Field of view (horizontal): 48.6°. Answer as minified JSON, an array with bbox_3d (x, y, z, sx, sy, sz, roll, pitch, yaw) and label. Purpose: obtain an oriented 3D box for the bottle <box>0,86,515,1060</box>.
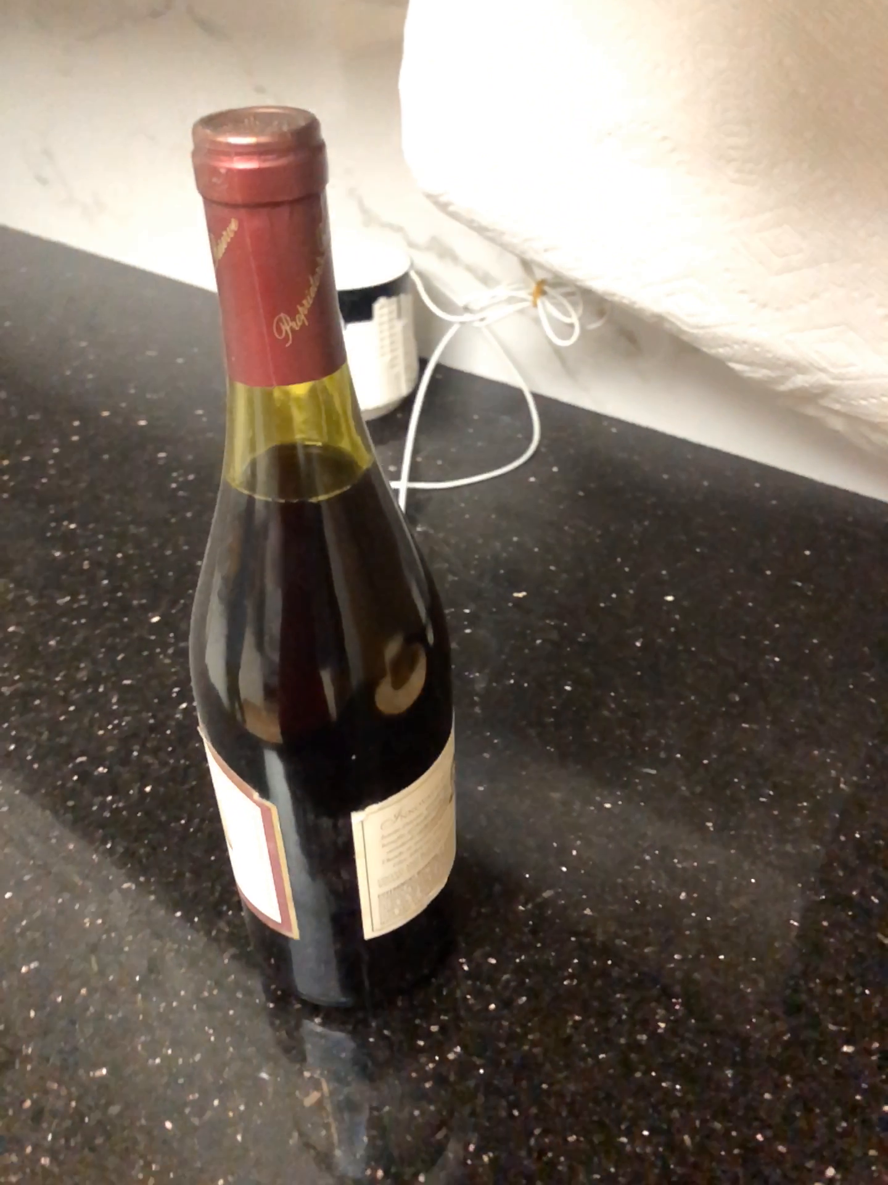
[{"bbox_3d":[-0.036,0.015,0.302,0.090,0.288,0.090,-1,38,1],"label":"bottle"}]
